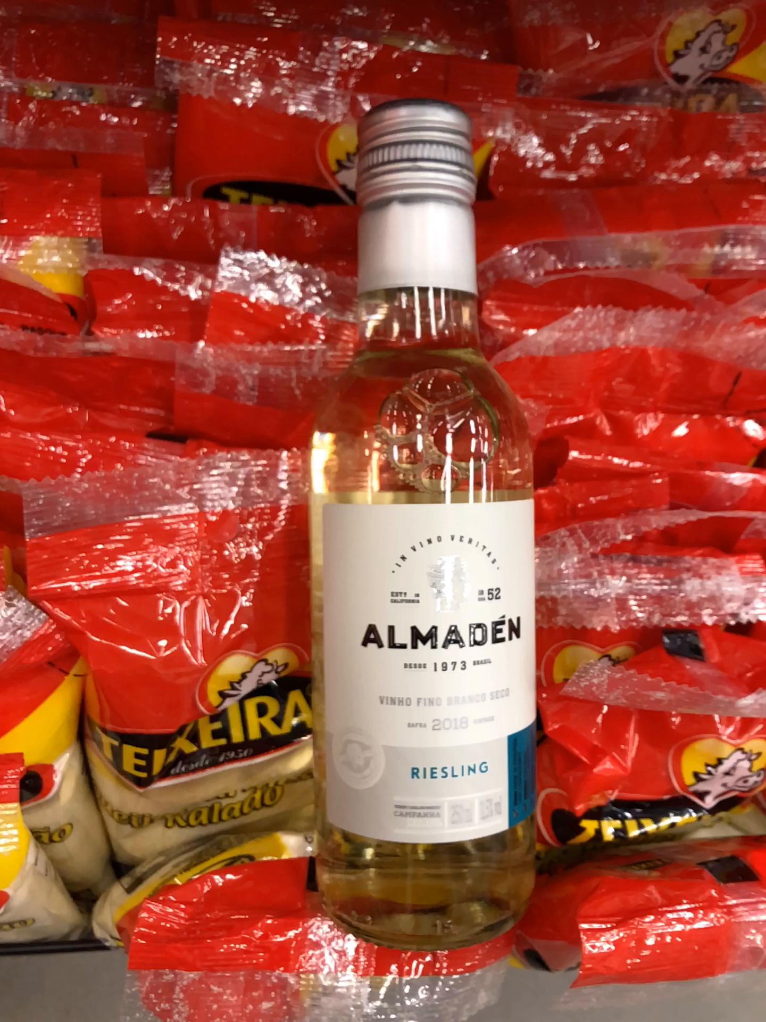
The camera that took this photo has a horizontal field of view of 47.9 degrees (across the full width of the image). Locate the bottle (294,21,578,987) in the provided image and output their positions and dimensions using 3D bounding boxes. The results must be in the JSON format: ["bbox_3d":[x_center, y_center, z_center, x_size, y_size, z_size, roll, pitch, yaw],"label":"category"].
[{"bbox_3d":[0.010,-0.002,0.212,0.060,0.040,0.210,-1,90,-9],"label":"bottle"}]
